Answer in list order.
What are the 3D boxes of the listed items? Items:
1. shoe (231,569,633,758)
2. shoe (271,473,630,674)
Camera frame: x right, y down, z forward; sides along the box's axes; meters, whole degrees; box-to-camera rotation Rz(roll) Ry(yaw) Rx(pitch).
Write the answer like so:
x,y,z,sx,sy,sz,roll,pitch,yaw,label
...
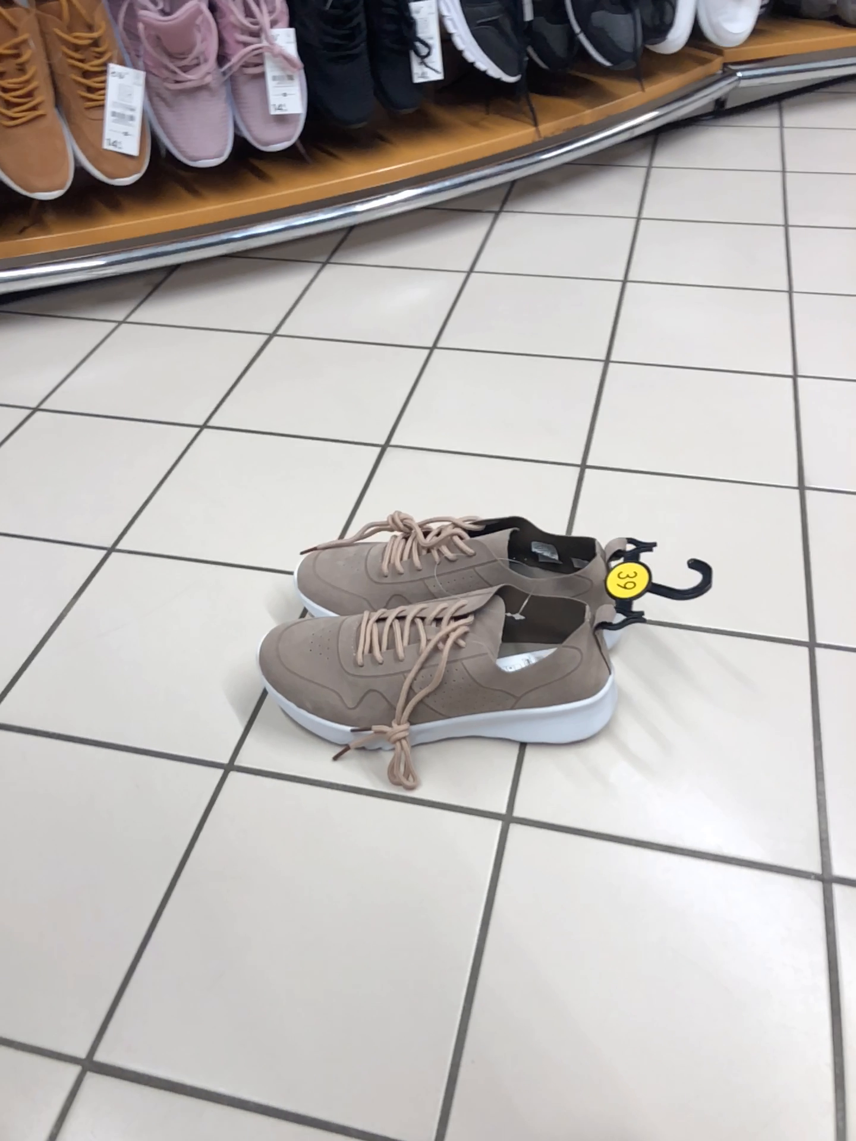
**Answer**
x,y,z,sx,sy,sz,roll,pitch,yaw,label
0.006,0.064,0.661,0.258,0.080,0.101,1,42,5,shoe
0.022,0.000,0.725,0.254,0.099,0.101,3,43,8,shoe
